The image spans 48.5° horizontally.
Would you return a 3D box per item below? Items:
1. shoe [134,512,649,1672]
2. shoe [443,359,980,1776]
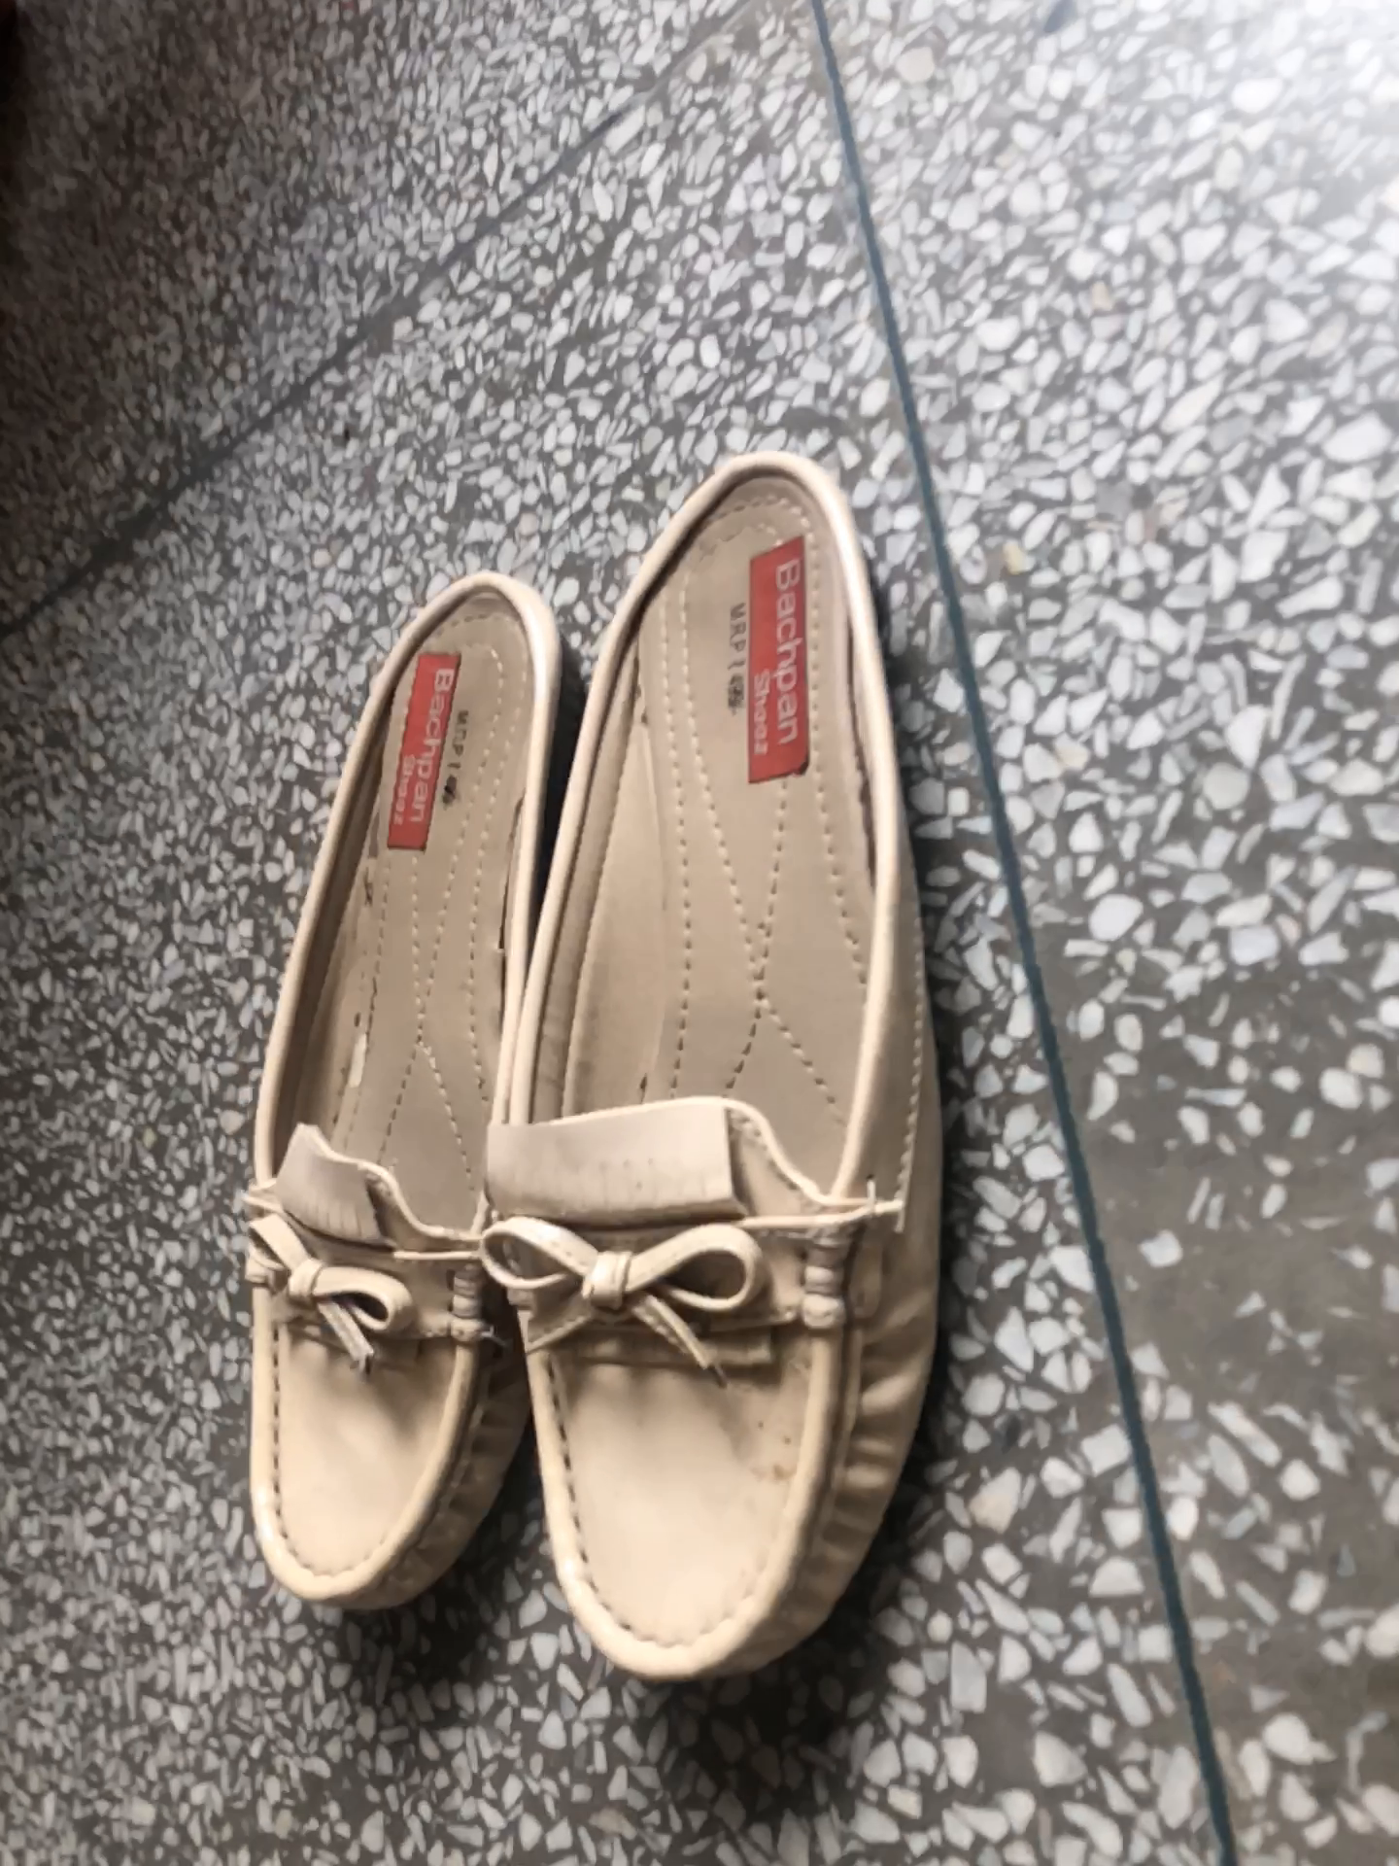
[{"bbox_3d":[-0.067,0.029,0.339,0.091,0.040,0.220,-2,80,41],"label":"shoe"},{"bbox_3d":[0.003,0.018,0.270,0.081,0.040,0.210,-7,76,40],"label":"shoe"}]
